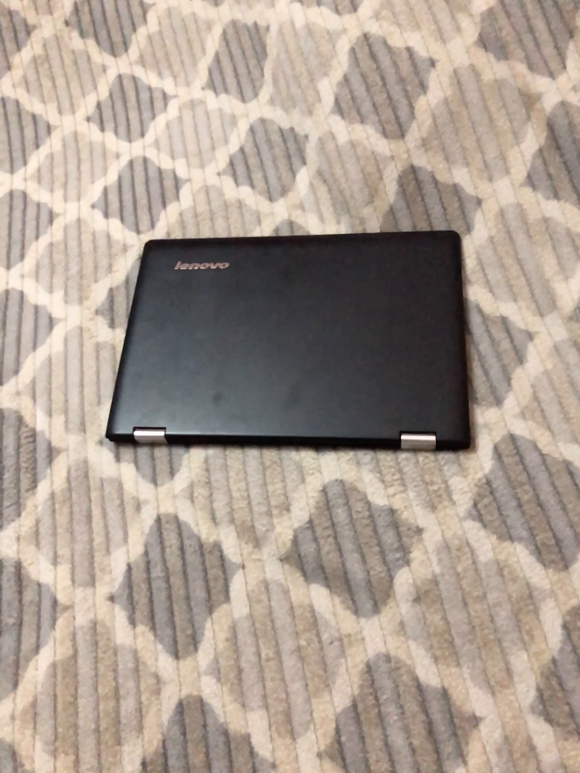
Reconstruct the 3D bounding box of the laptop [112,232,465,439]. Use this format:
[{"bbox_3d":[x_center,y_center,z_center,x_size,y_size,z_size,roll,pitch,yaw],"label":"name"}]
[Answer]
[{"bbox_3d":[0.001,-0.058,0.656,0.339,0.005,0.231,0,66,8],"label":"laptop"}]
